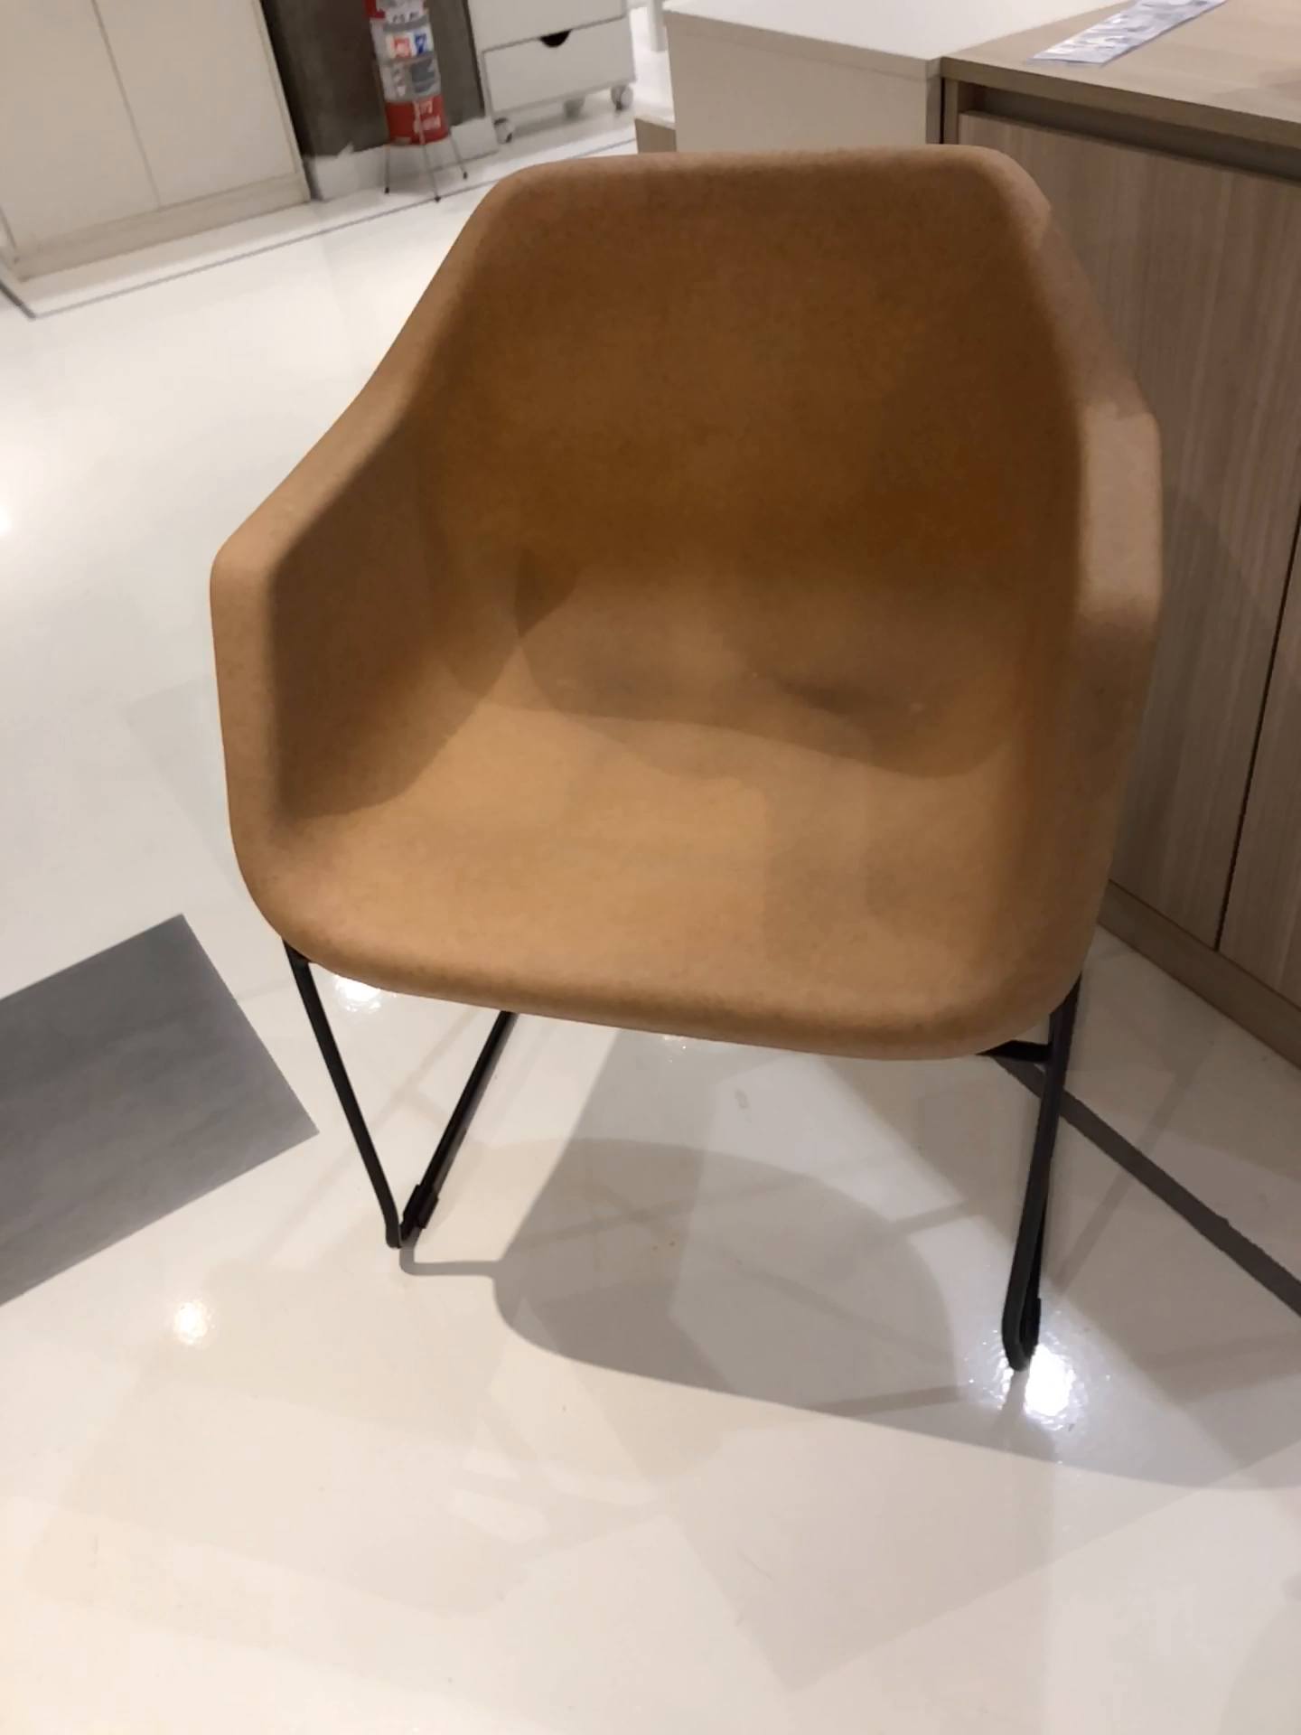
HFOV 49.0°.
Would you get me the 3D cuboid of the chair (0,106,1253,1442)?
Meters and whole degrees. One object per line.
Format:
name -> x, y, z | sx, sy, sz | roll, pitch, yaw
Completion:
chair -> 0.056, -0.078, 1.051 | 0.590, 0.705, 0.574 | 5, 42, 15
